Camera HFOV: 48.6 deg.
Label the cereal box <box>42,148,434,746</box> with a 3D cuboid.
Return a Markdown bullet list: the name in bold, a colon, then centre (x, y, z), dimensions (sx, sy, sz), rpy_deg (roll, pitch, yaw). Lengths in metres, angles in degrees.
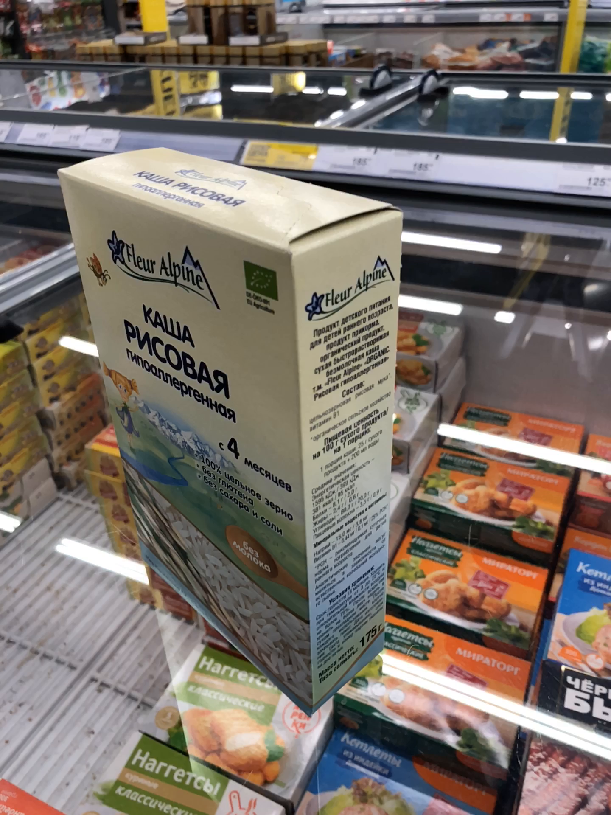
- **cereal box**: centre (-0.026, 0.014, 0.271), dimensions (0.050, 0.199, 0.140), rpy_deg (-28, 40, -34)
